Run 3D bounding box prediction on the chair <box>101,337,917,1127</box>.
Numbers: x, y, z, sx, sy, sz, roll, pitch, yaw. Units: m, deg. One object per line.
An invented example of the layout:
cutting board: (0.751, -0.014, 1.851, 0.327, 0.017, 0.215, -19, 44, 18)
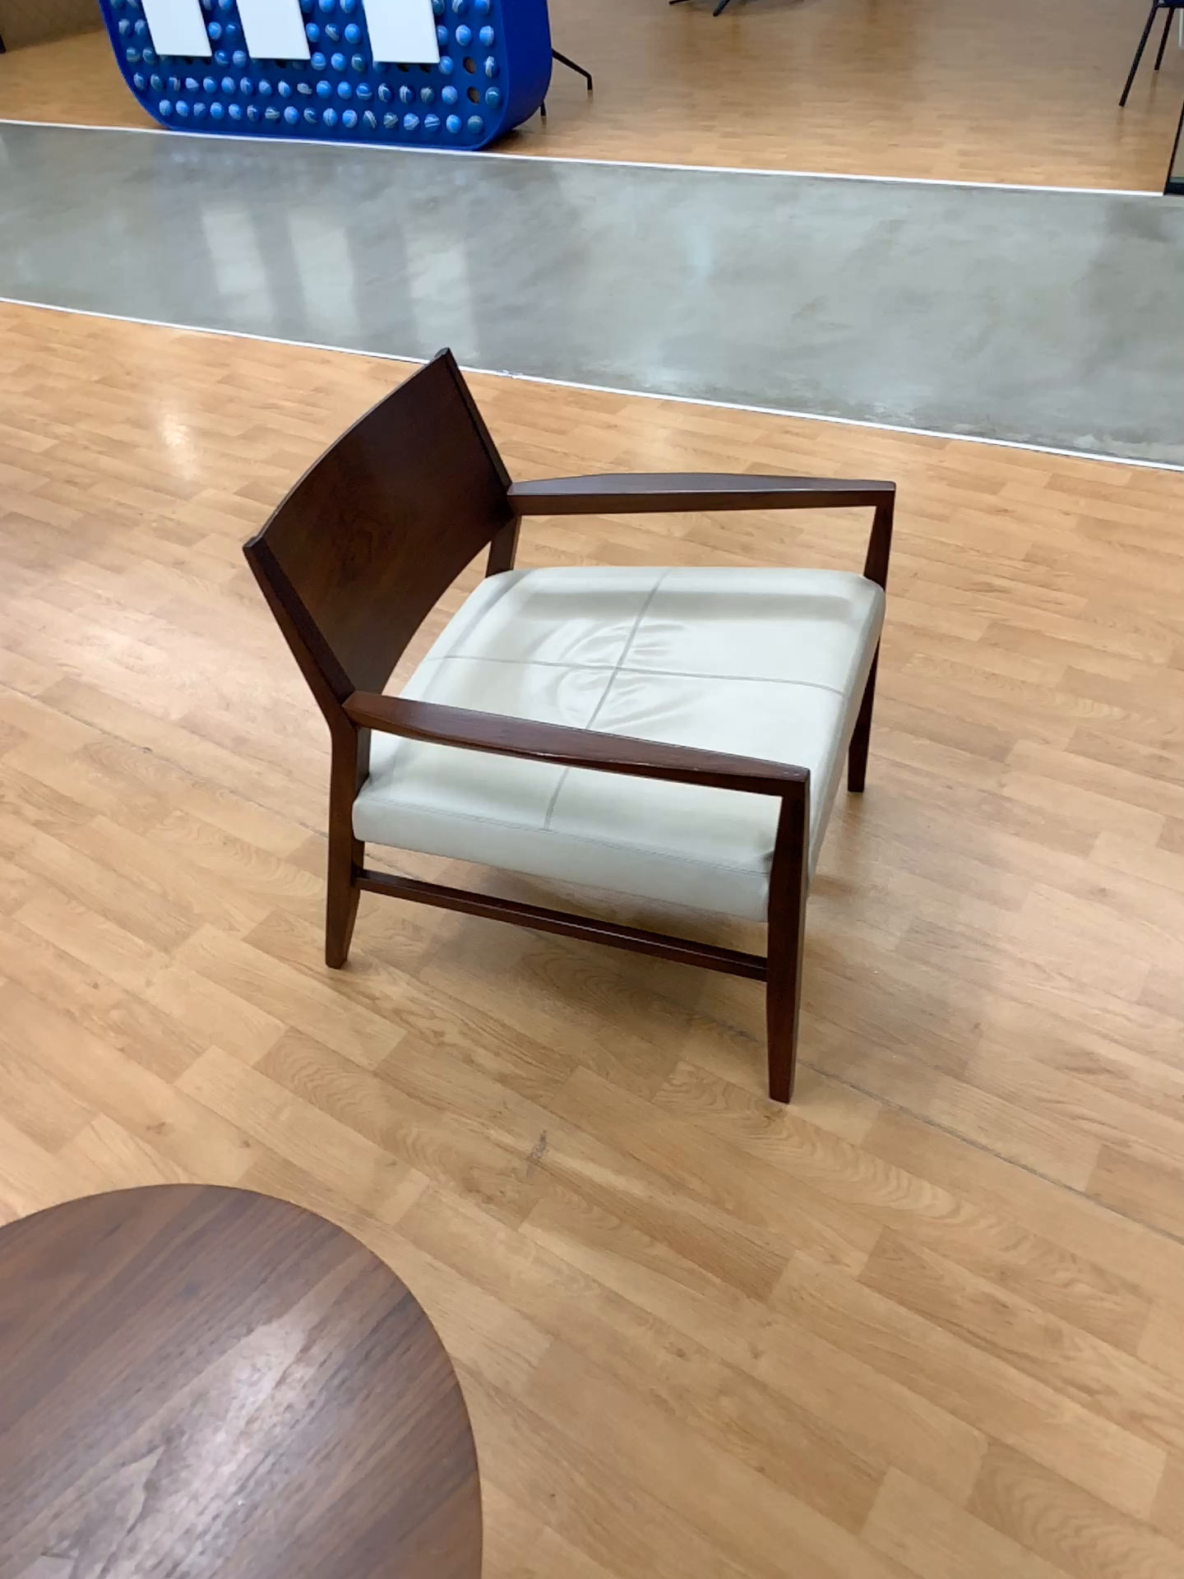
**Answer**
chair: (-0.017, -0.115, 1.524, 0.711, 0.634, 0.675, 8, 43, 16)
